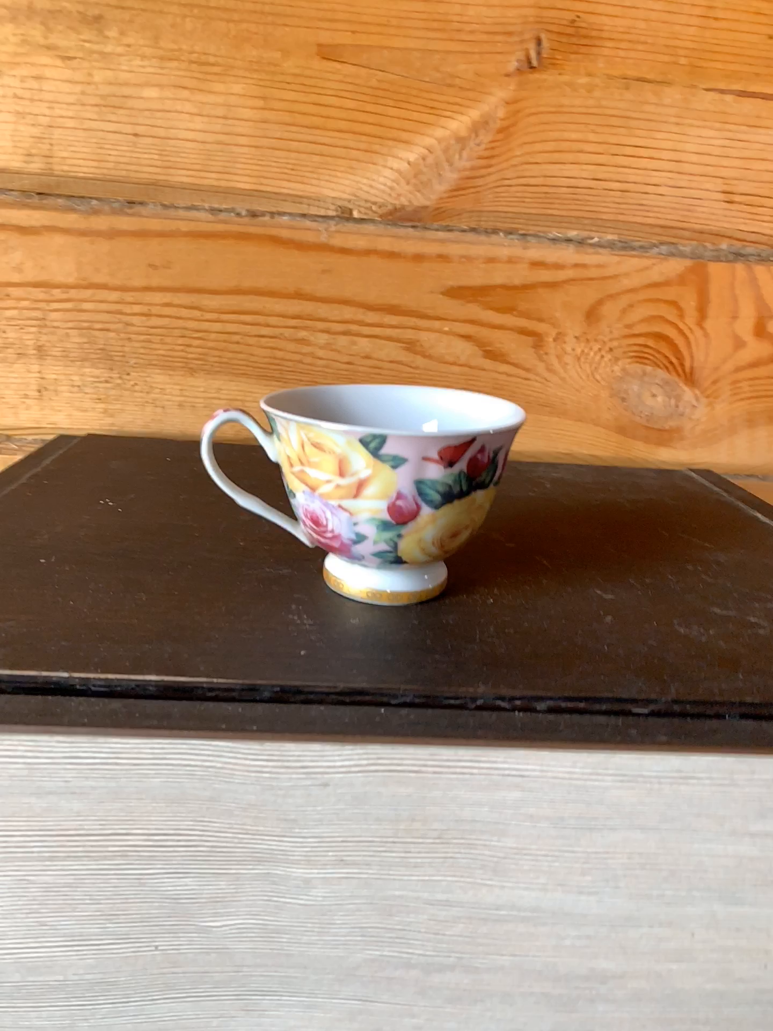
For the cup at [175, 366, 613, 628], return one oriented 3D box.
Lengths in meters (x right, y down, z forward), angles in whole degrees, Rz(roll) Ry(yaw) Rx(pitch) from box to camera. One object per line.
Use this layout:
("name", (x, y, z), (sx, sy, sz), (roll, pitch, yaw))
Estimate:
("cup", (-0.002, -0.012, 0.274), (0.120, 0.060, 0.101), (3, 16, -5))
